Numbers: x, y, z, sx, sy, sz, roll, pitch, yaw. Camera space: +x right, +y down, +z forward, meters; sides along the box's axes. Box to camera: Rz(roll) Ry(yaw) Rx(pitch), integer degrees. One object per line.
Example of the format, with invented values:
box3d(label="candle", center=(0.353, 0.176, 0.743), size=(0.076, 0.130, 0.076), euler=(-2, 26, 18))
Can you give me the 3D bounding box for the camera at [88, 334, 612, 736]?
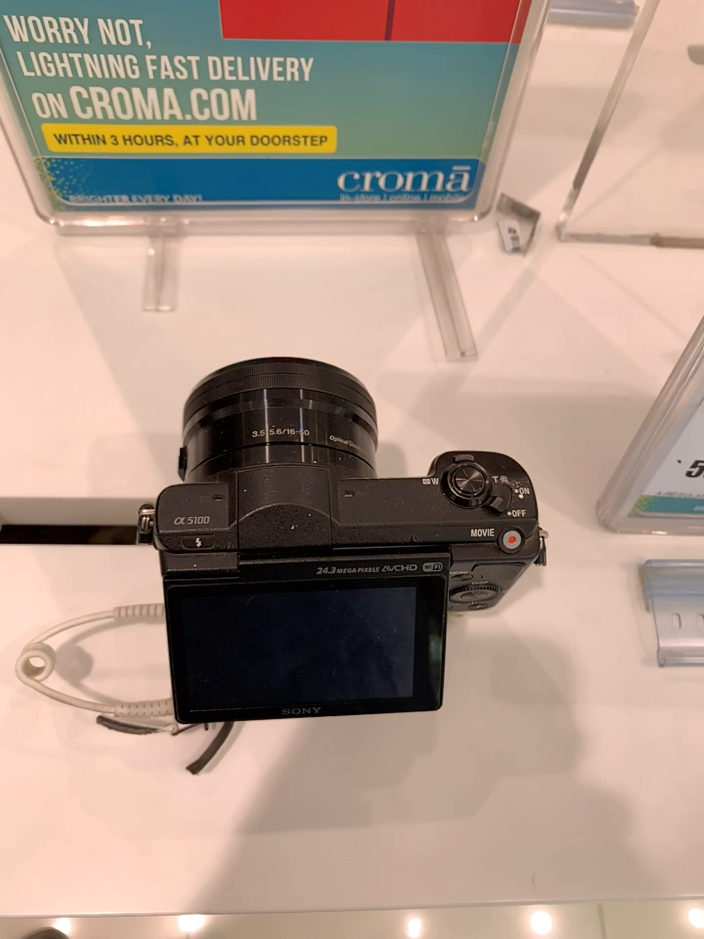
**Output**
box3d(label="camera", center=(-0.003, 0.023, 0.211), size=(0.110, 0.082, 0.088), euler=(0, 63, -5))
